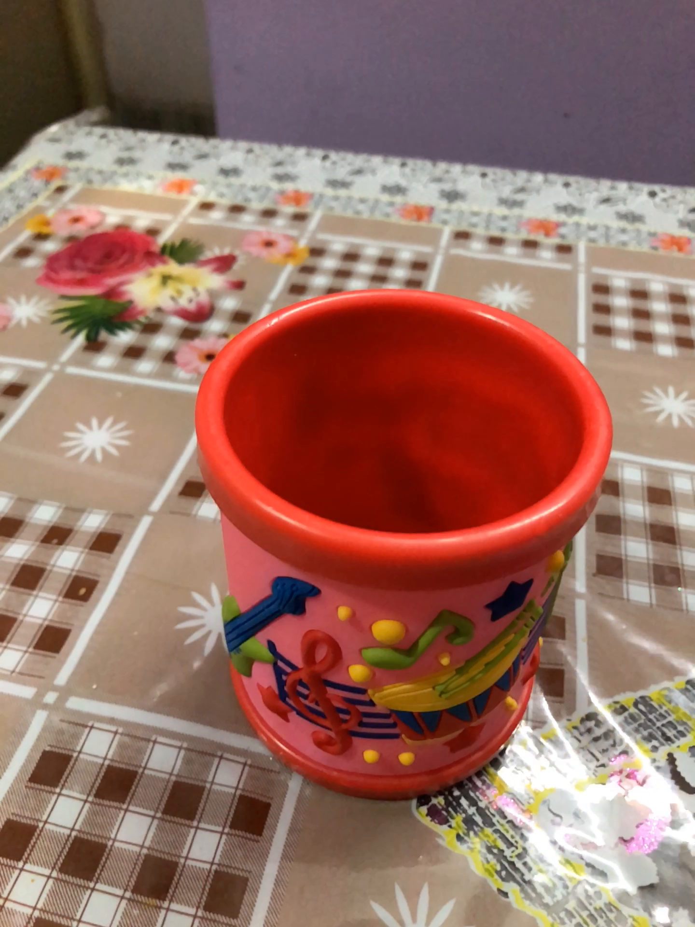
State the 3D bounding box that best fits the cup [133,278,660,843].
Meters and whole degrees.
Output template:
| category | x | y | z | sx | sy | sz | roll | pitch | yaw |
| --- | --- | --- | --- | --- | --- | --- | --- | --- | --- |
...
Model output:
| category | x | y | z | sx | sy | sz | roll | pitch | yaw |
| --- | --- | --- | --- | --- | --- | --- | --- | --- | --- |
| cup | 0.008 | 0.024 | 0.182 | 0.080 | 0.099 | 0.080 | 1 | 43 | -1 |
